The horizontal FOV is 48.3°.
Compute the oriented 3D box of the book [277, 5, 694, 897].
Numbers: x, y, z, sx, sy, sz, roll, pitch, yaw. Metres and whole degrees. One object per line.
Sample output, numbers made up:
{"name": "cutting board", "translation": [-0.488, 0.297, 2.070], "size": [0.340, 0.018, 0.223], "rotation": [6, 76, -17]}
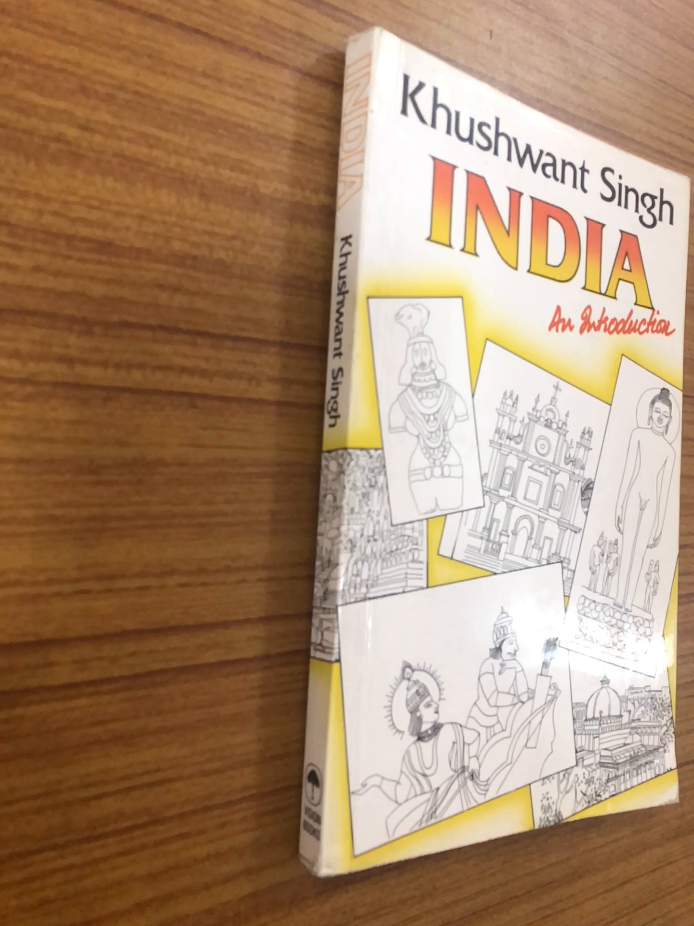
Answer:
{"name": "book", "translation": [0.053, 0.000, 0.212], "size": [0.140, 0.020, 0.190], "rotation": [6, 85, -34]}
